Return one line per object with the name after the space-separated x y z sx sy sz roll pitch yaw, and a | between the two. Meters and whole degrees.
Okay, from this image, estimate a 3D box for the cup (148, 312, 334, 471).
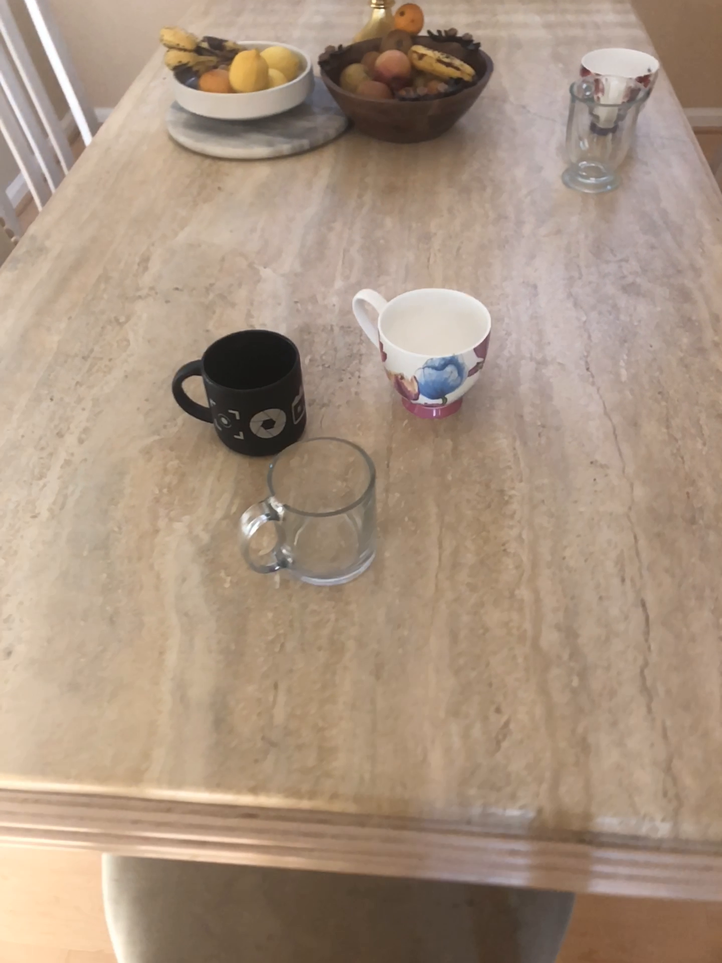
-0.110 -0.088 0.767 0.140 0.089 0.101 10 48 12 | cup

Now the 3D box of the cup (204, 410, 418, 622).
-0.038 0.026 0.647 0.140 0.089 0.090 -24 50 -18 | cup

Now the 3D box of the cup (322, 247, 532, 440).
0.063 -0.141 0.789 0.160 0.089 0.121 33 56 29 | cup
